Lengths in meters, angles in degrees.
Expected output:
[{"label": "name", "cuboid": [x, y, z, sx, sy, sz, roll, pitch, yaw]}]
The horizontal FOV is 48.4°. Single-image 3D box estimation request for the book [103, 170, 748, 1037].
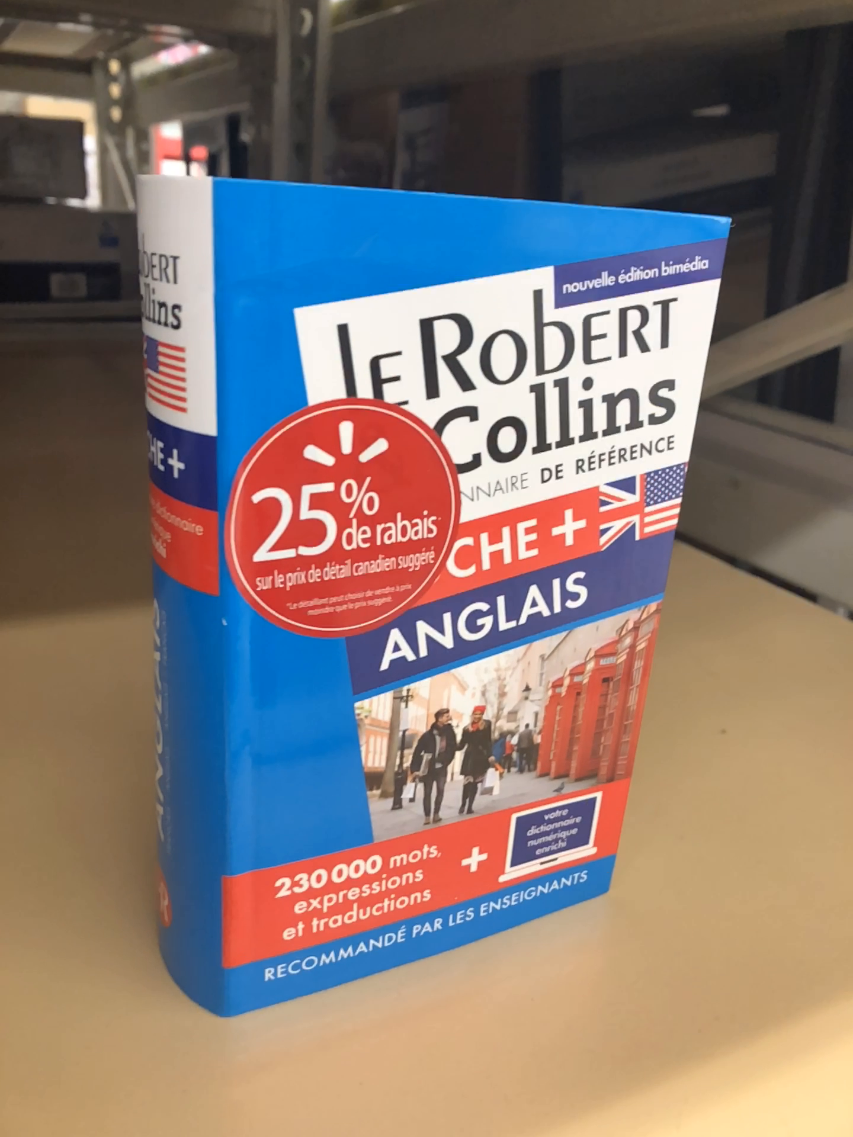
[{"label": "book", "cuboid": [-0.006, 0.004, 0.227, 0.121, 0.173, 0.059, -6, 23, -27]}]
